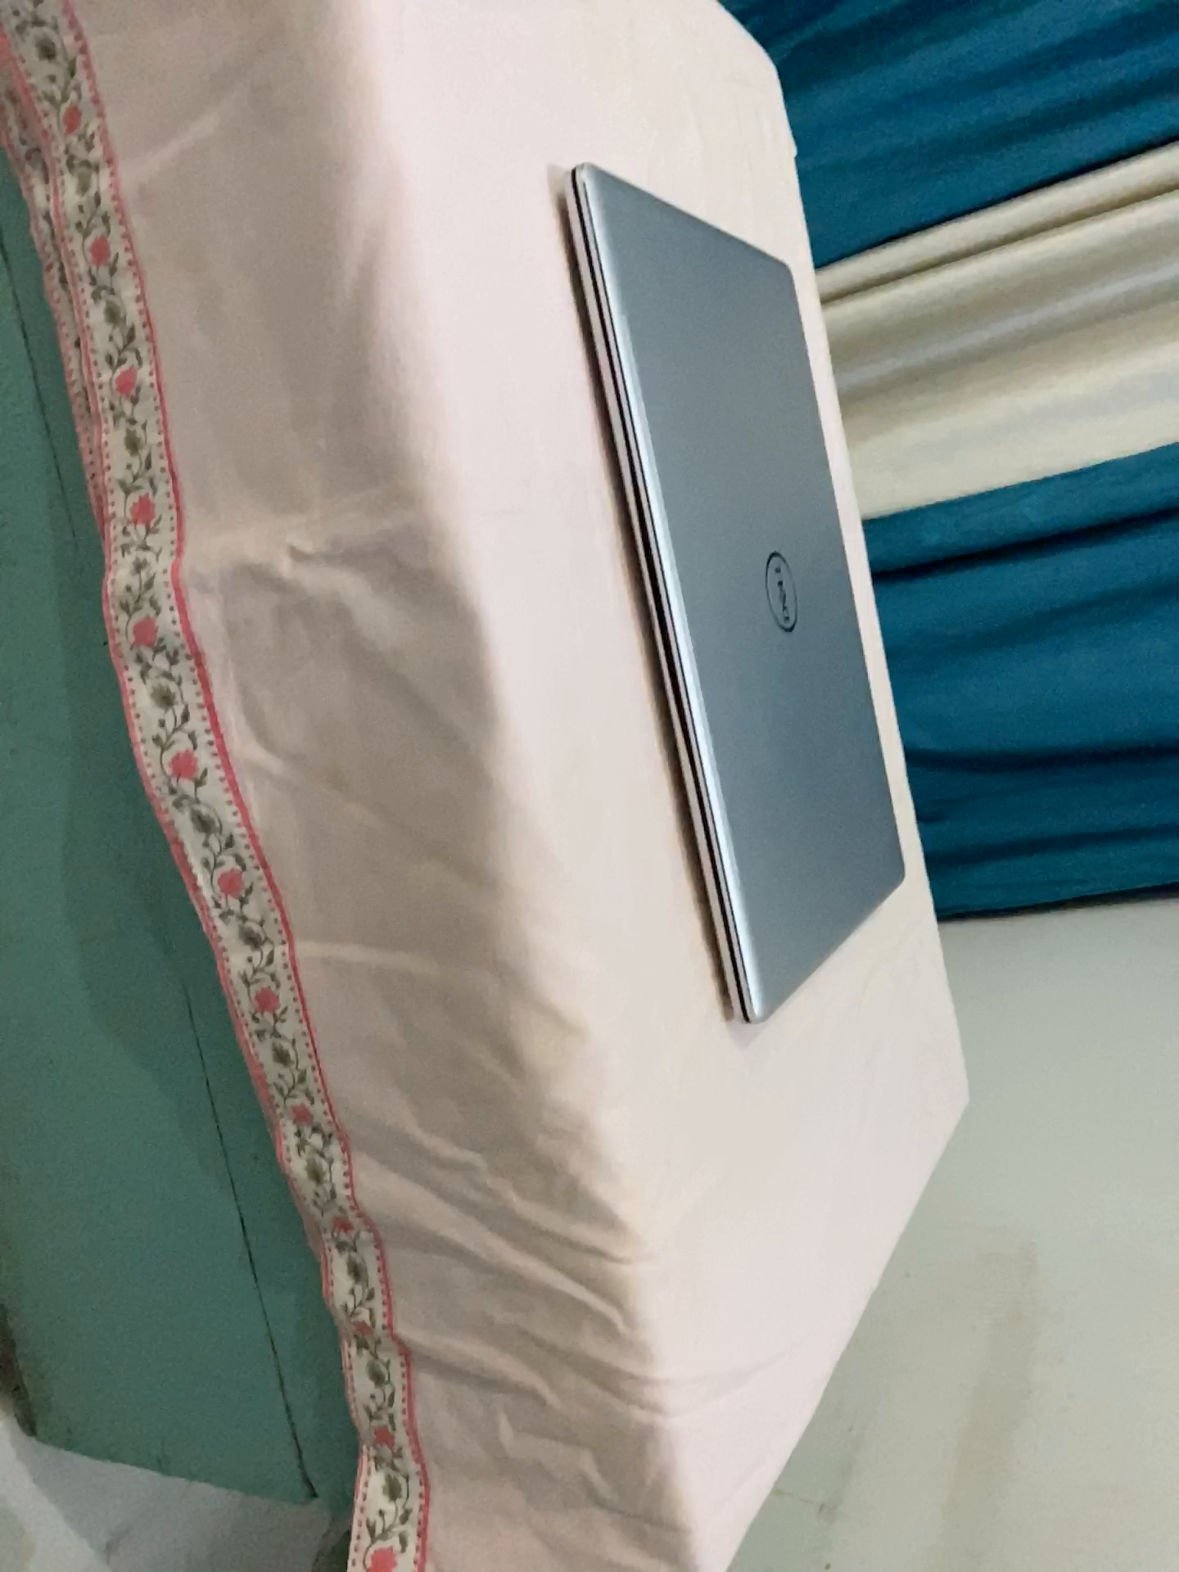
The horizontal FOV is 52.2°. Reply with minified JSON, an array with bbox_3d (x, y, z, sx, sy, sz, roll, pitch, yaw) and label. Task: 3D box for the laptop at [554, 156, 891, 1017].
[{"bbox_3d":[0.083,-0.097,0.599,0.237,0.004,0.359,-23,103,-58],"label":"laptop"}]
